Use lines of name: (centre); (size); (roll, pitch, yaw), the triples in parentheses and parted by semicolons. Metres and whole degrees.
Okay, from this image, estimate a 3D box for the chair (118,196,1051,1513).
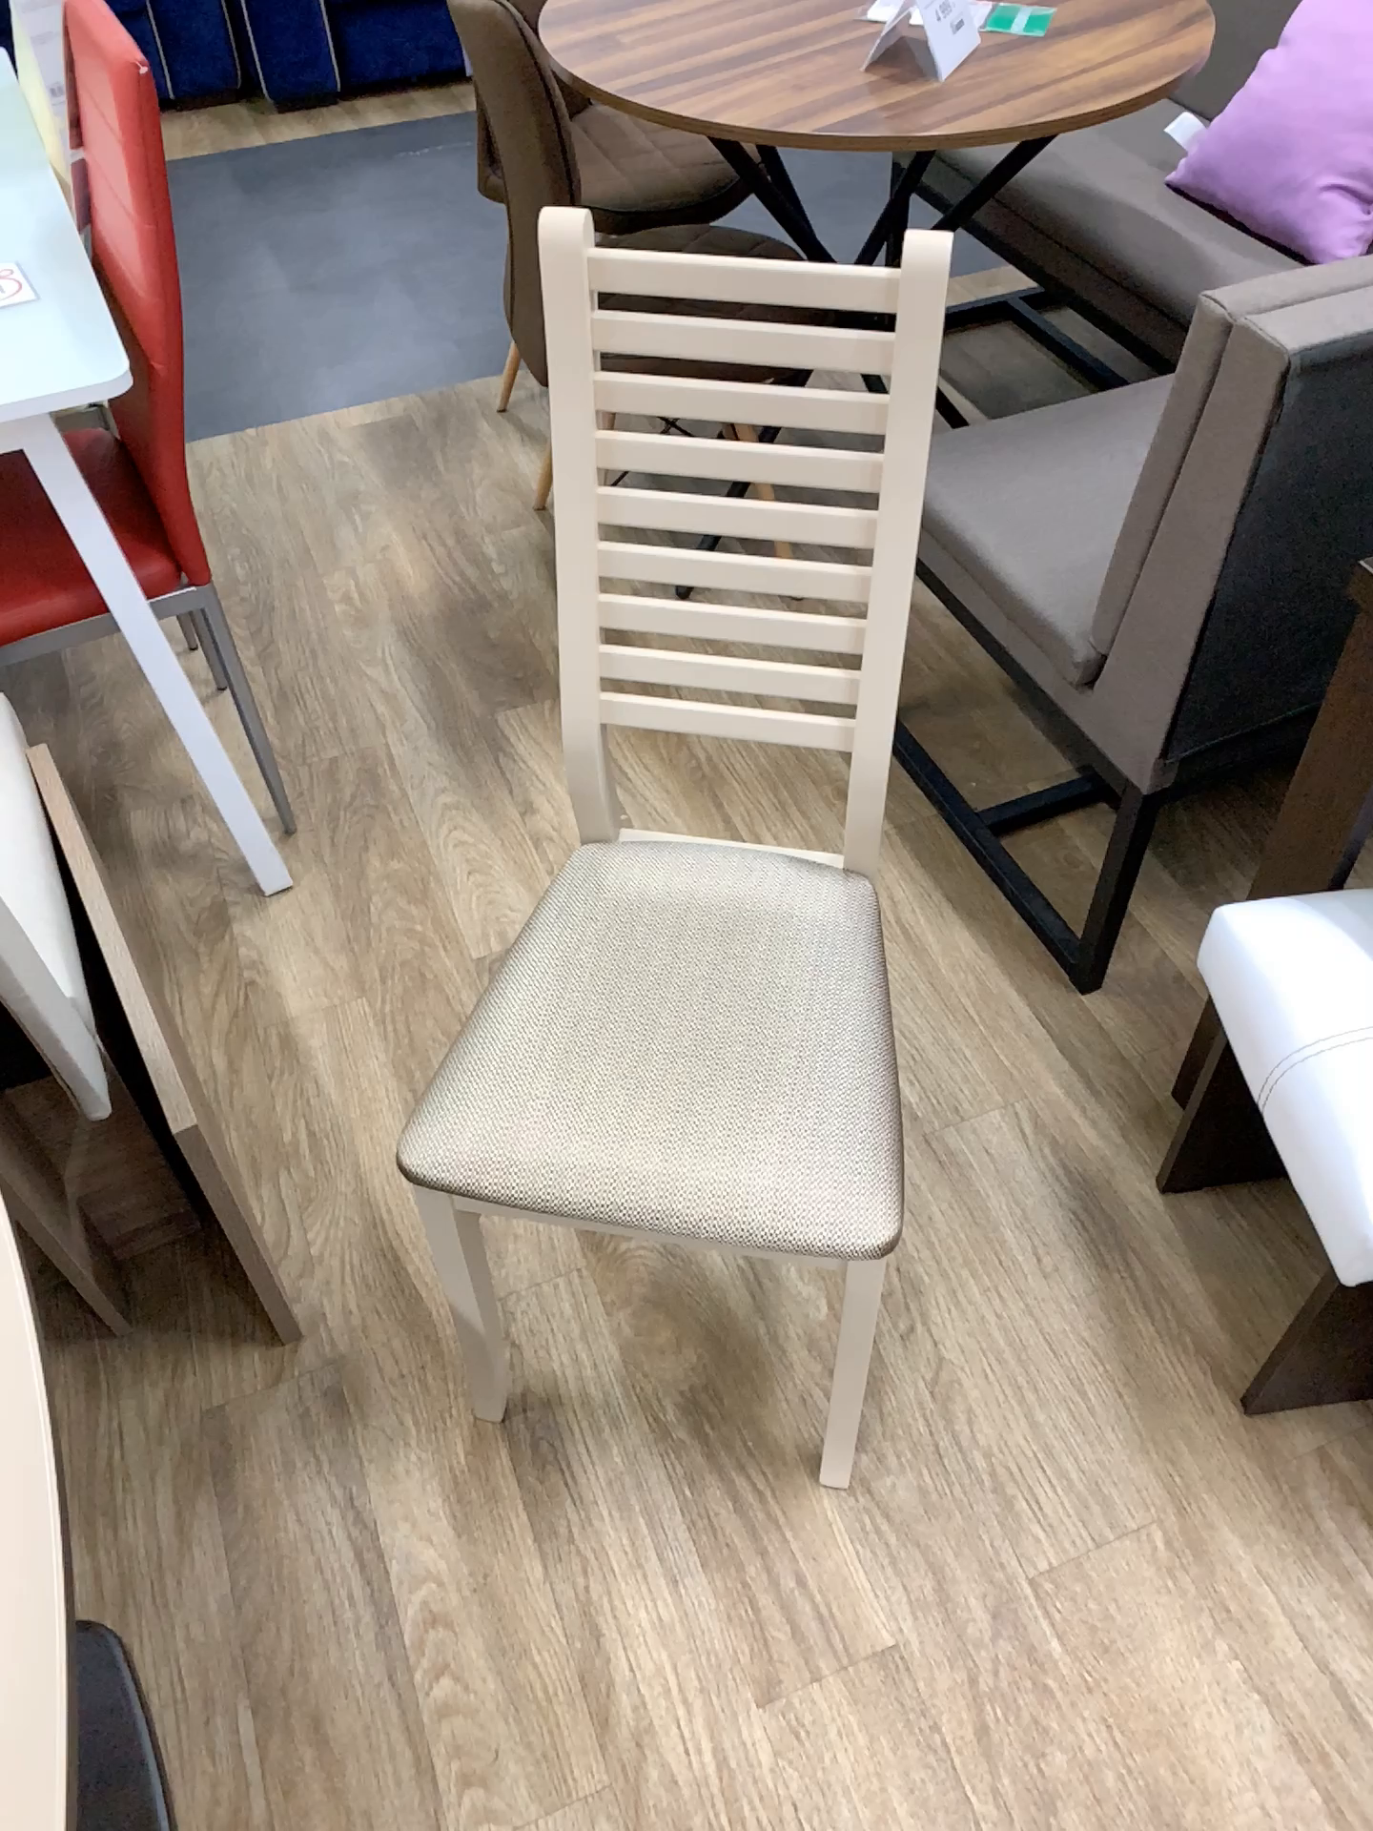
chair: (-0.001, 0.019, 1.209); (0.440, 0.985, 0.553); (8, 49, 9)
